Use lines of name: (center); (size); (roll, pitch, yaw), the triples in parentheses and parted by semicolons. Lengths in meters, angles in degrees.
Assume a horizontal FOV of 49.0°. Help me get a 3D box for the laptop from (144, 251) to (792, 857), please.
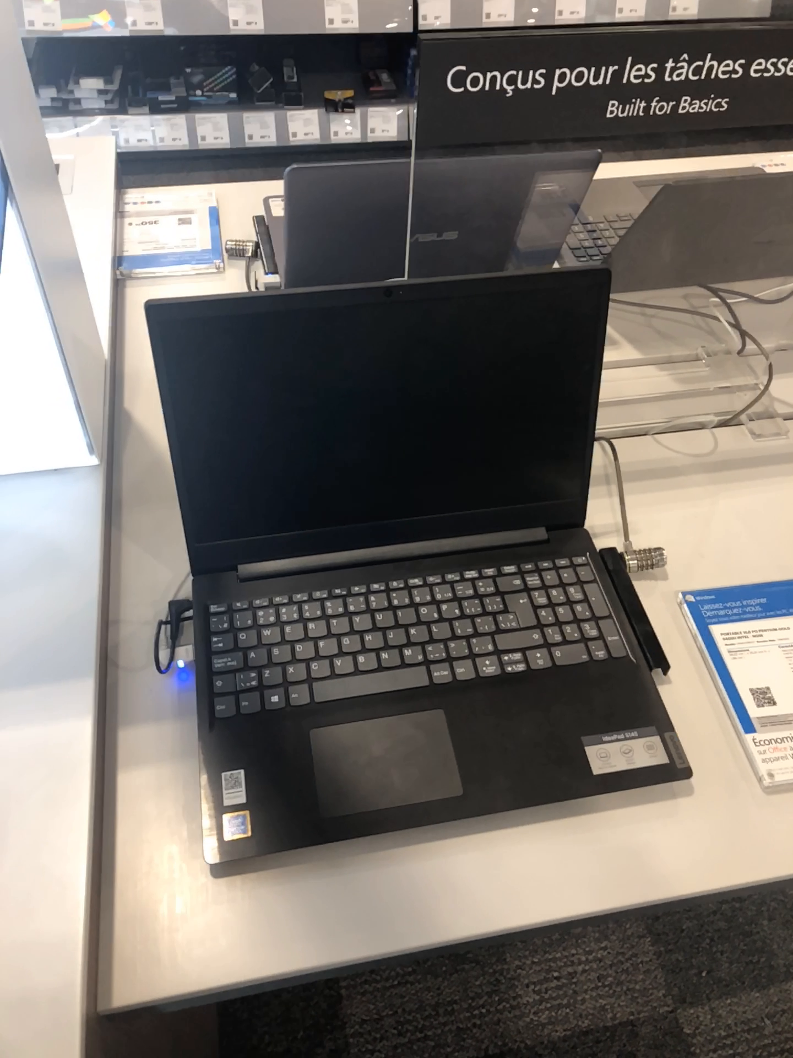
laptop: (0.016, 0.004, 0.626); (0.345, 0.213, 0.323); (-7, 52, -9)
